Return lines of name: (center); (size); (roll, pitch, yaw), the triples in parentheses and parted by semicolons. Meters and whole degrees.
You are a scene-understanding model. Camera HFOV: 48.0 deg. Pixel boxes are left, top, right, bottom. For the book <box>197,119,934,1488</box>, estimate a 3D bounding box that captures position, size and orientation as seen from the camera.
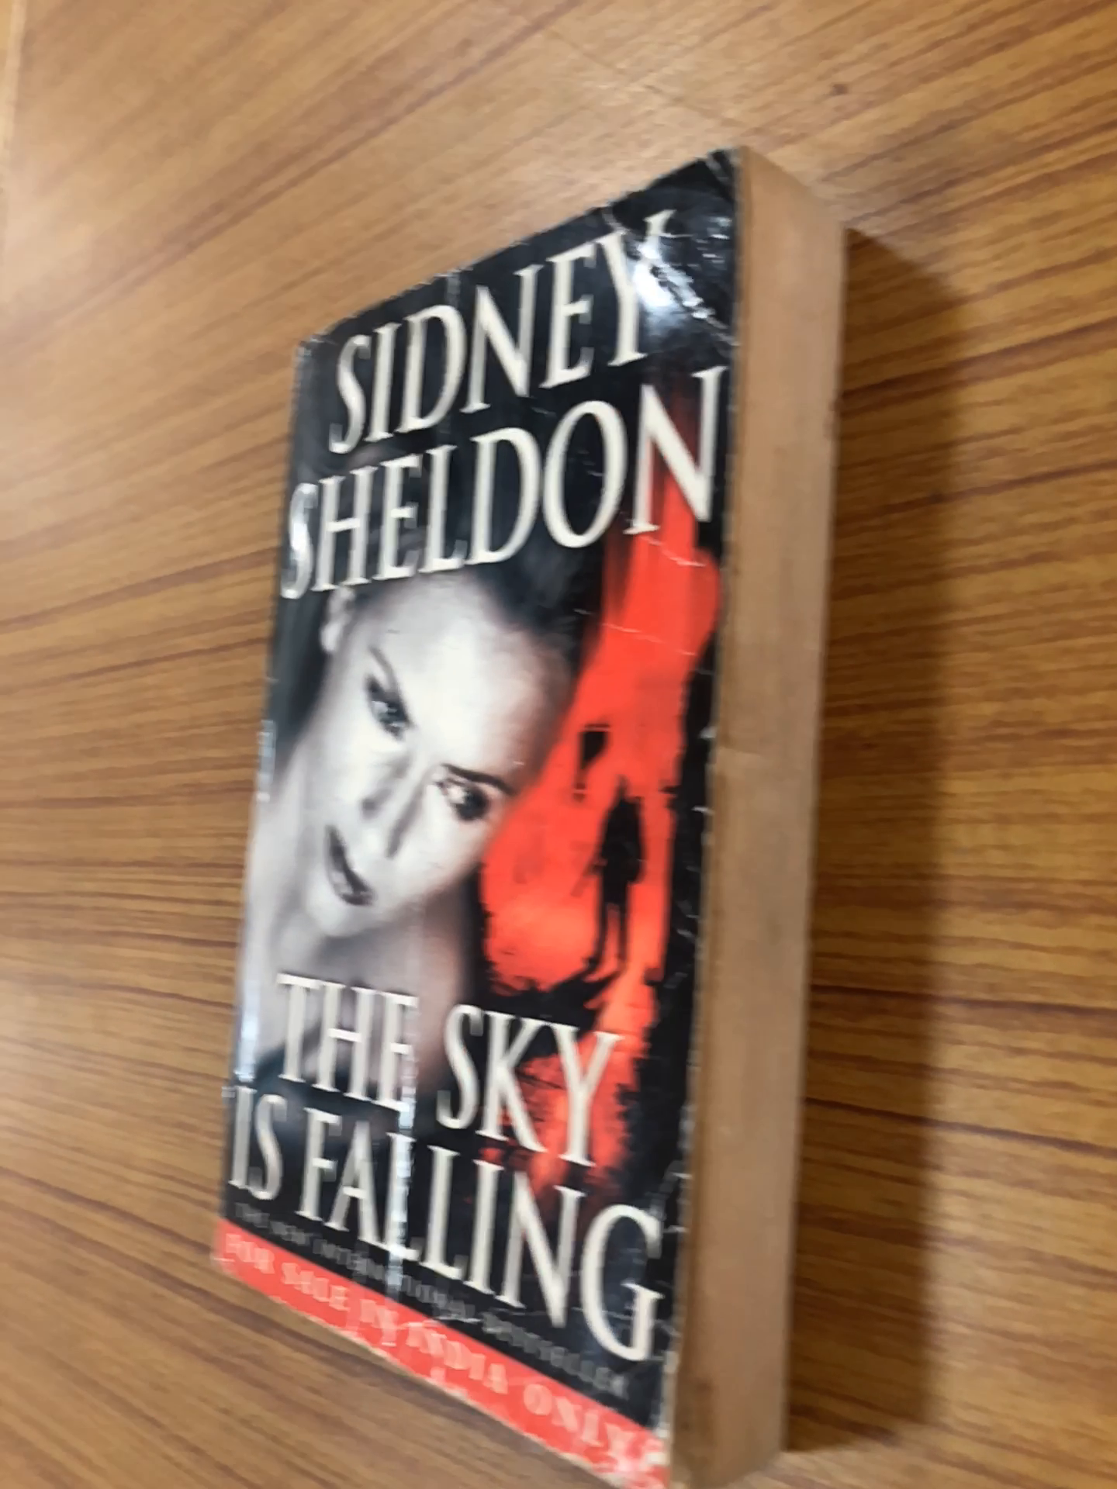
book: (-0.006, 0.009, 0.201); (0.121, 0.030, 0.170); (-1, 83, 44)
